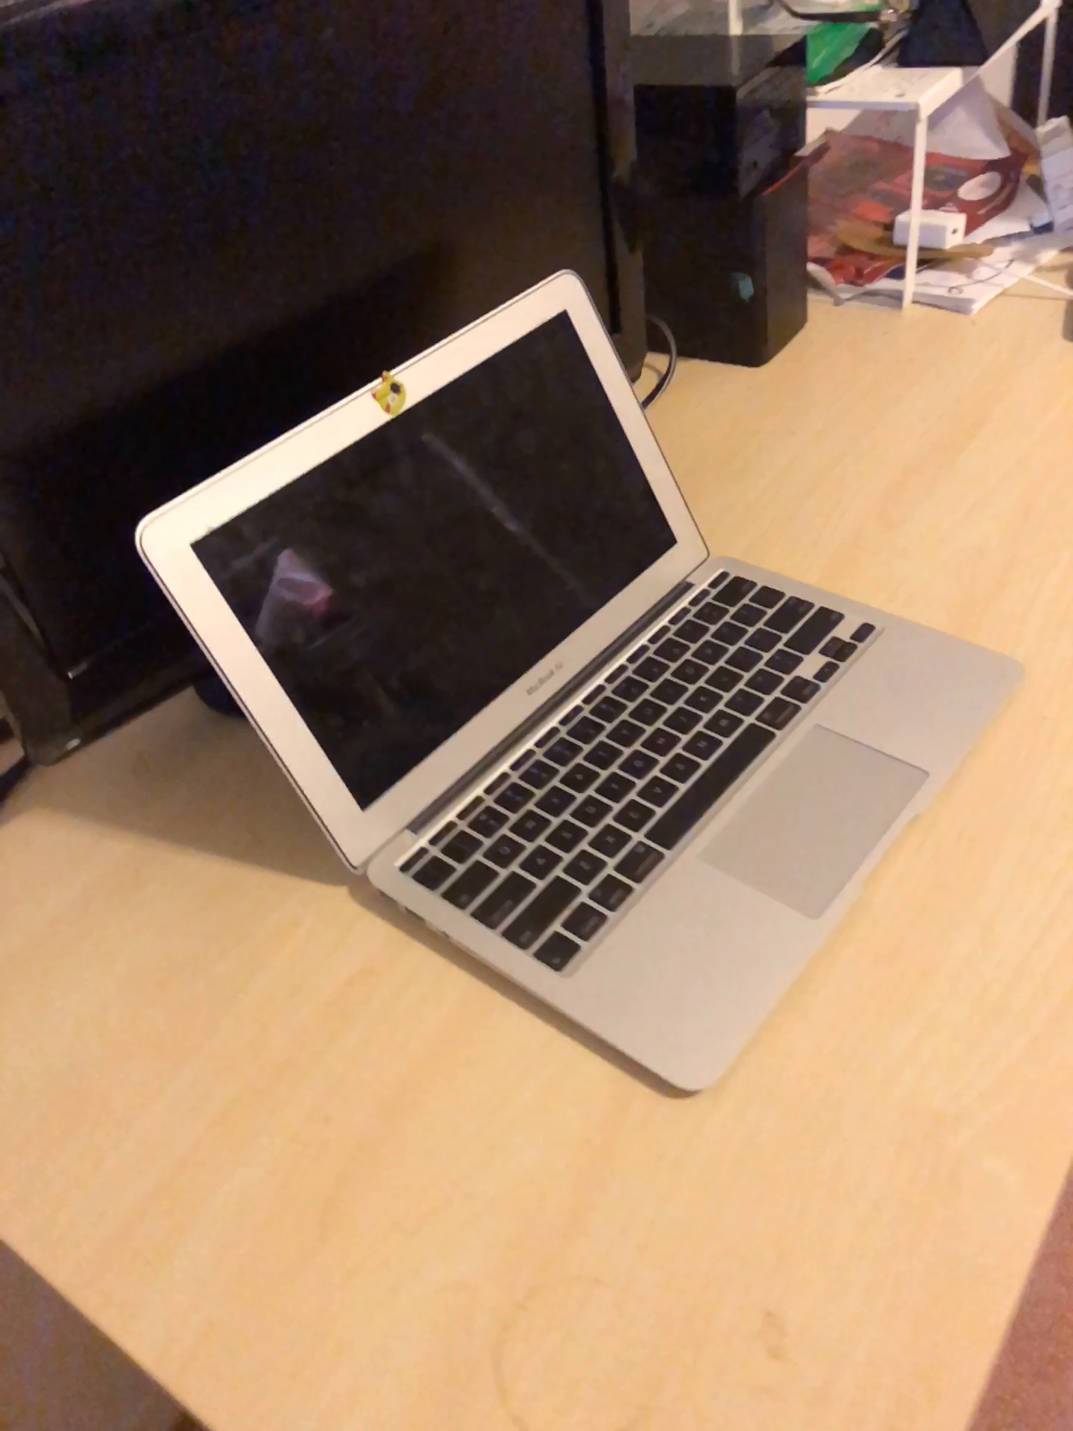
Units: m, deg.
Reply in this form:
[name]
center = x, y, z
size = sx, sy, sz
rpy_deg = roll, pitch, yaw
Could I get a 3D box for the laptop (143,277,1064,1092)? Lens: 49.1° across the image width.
[laptop]
center = 0.039, -0.049, 0.548
size = 0.275, 0.160, 0.291
rpy_deg = 25, 52, 33
